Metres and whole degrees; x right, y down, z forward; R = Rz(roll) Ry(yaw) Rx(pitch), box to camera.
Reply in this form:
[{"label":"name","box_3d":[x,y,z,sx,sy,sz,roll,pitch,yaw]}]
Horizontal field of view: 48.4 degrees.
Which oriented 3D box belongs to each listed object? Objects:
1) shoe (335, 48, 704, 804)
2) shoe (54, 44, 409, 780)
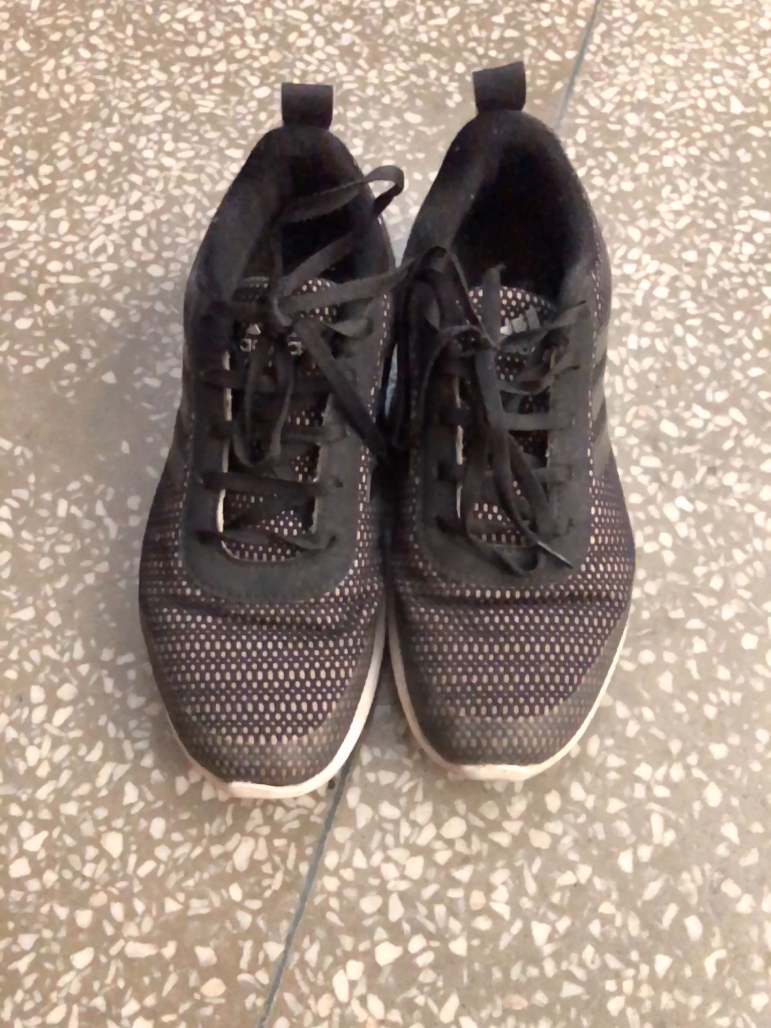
[{"label":"shoe","box_3d":[0.043,-0.039,0.321,0.100,0.080,0.270,3,68,1]},{"label":"shoe","box_3d":[-0.043,-0.046,0.335,0.100,0.080,0.280,1,68,0]}]
